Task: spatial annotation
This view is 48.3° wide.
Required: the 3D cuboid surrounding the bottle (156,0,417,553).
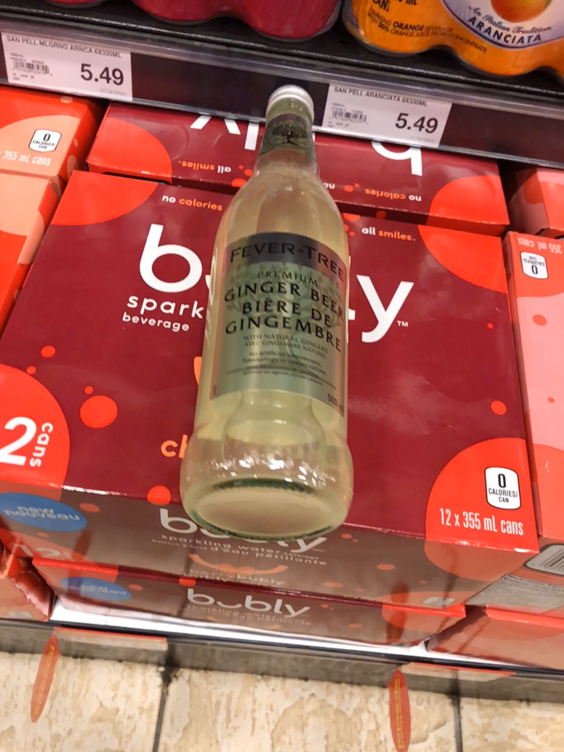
[{"bbox_3d":[0.004,-0.066,0.298,0.080,0.080,0.270,6,57,-4],"label":"bottle"}]
